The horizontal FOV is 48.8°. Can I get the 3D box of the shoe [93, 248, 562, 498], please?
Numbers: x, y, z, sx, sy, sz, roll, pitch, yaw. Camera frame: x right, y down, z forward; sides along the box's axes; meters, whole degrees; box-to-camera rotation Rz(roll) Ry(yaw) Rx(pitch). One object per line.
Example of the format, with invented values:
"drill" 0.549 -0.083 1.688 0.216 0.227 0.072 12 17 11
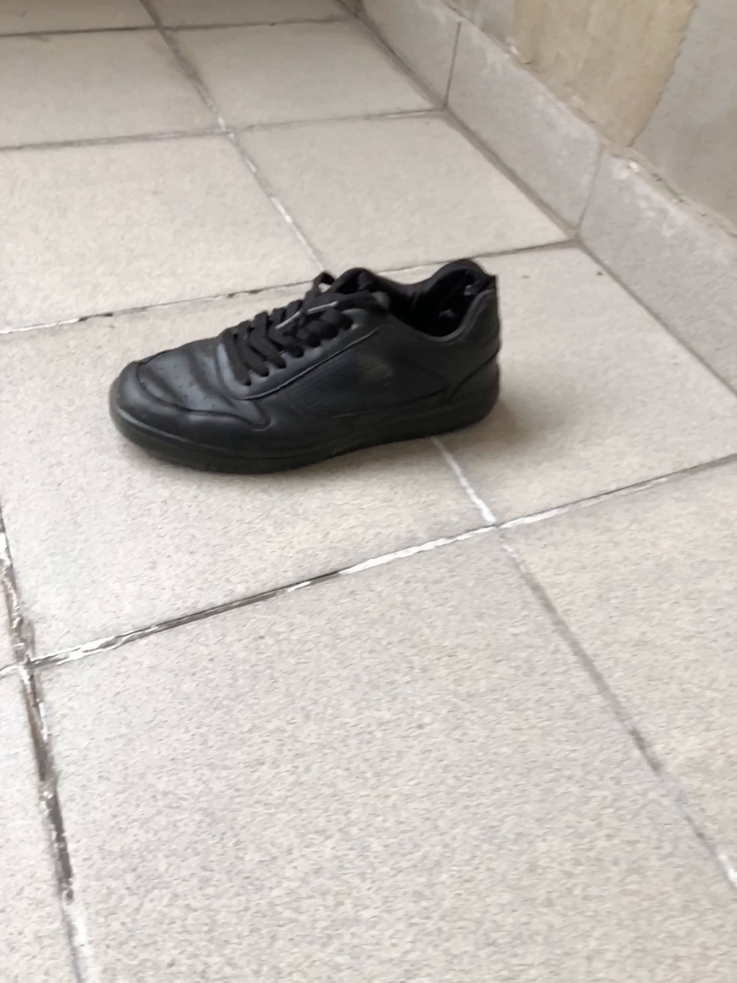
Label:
"shoe" -0.032 -0.088 0.569 0.290 0.099 0.111 -8 51 -14
